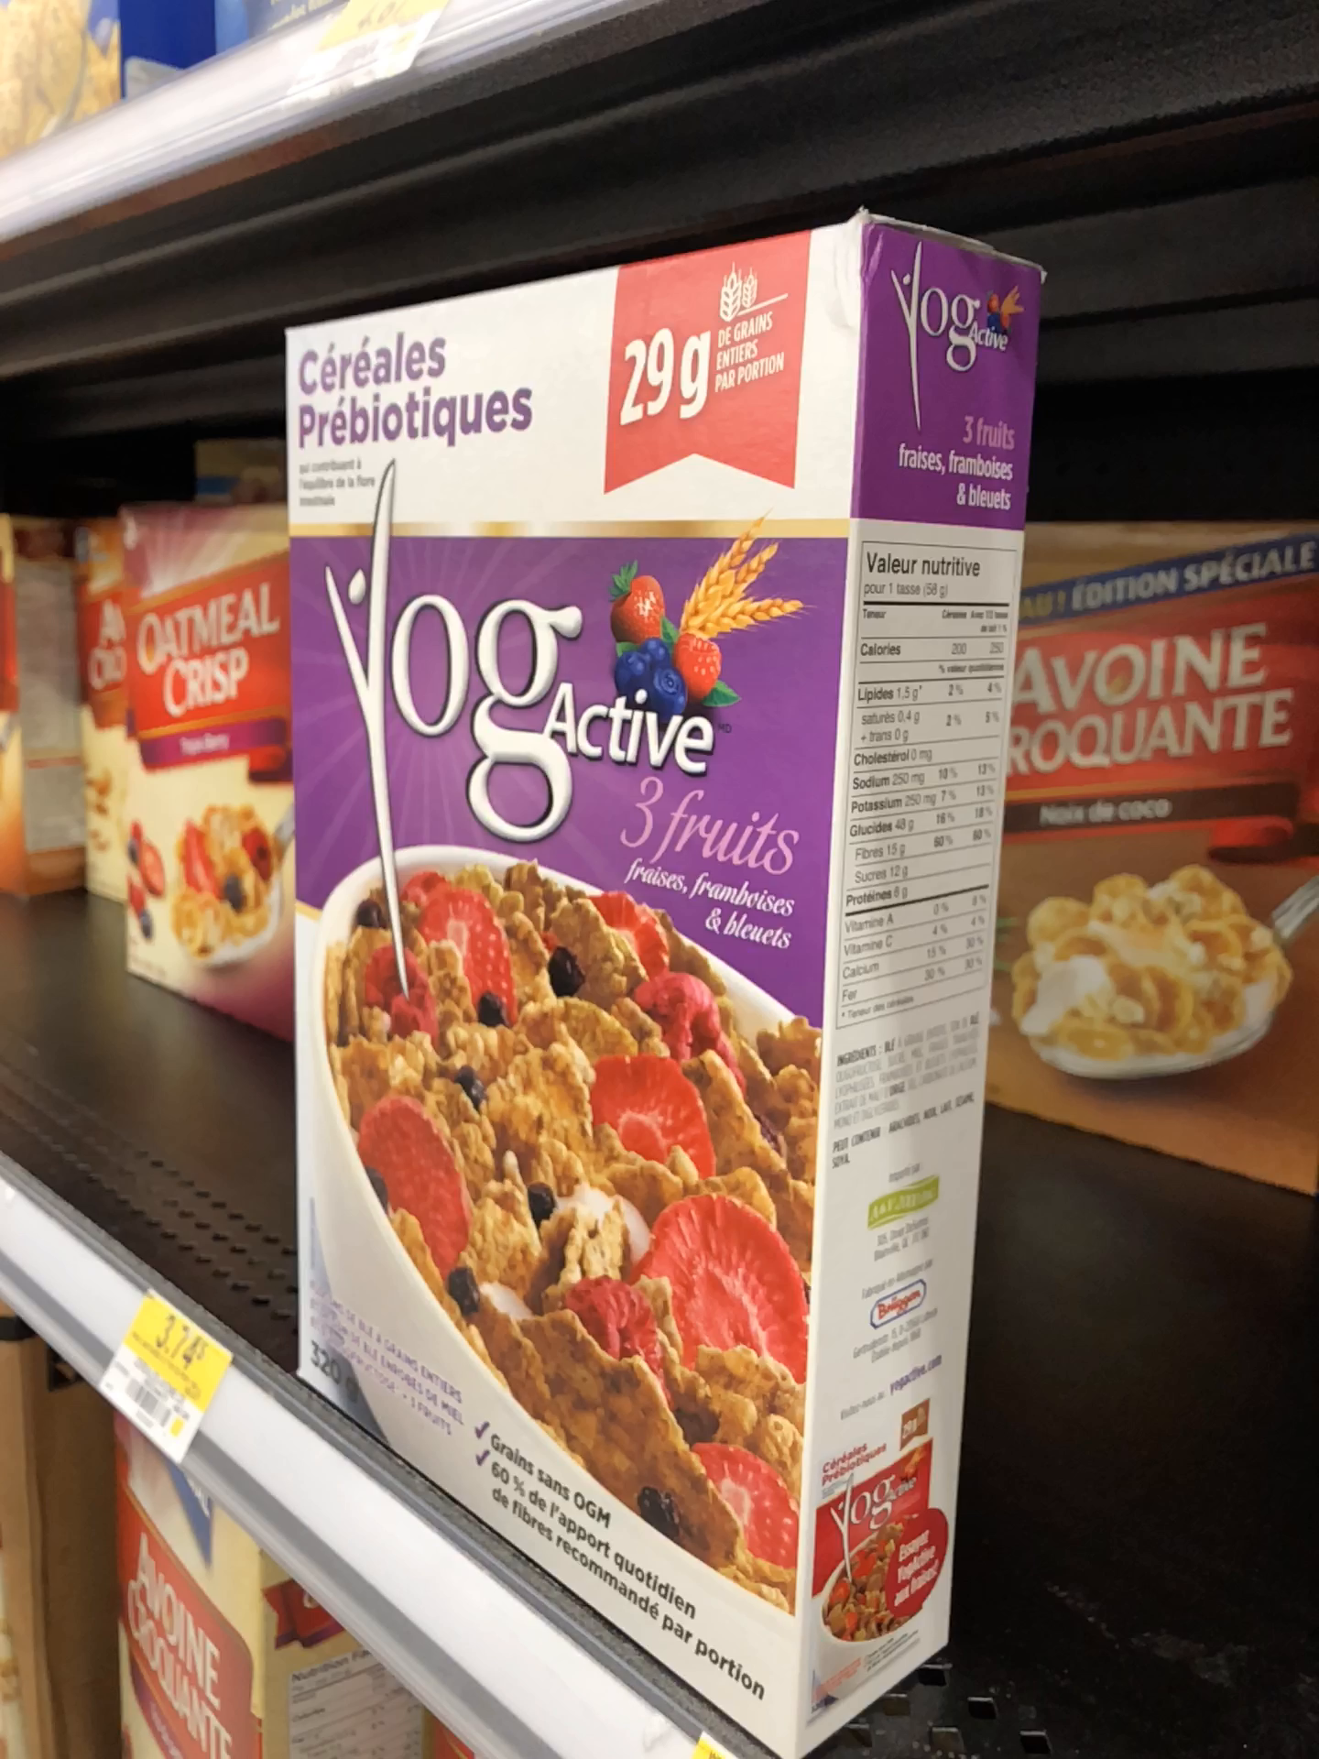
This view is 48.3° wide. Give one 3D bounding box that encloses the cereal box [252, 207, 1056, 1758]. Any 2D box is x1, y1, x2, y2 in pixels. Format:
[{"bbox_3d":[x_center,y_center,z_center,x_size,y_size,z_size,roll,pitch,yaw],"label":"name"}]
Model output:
[{"bbox_3d":[-0.017,0.014,0.342,0.060,0.279,0.190,-9,15,-42],"label":"cereal box"}]
